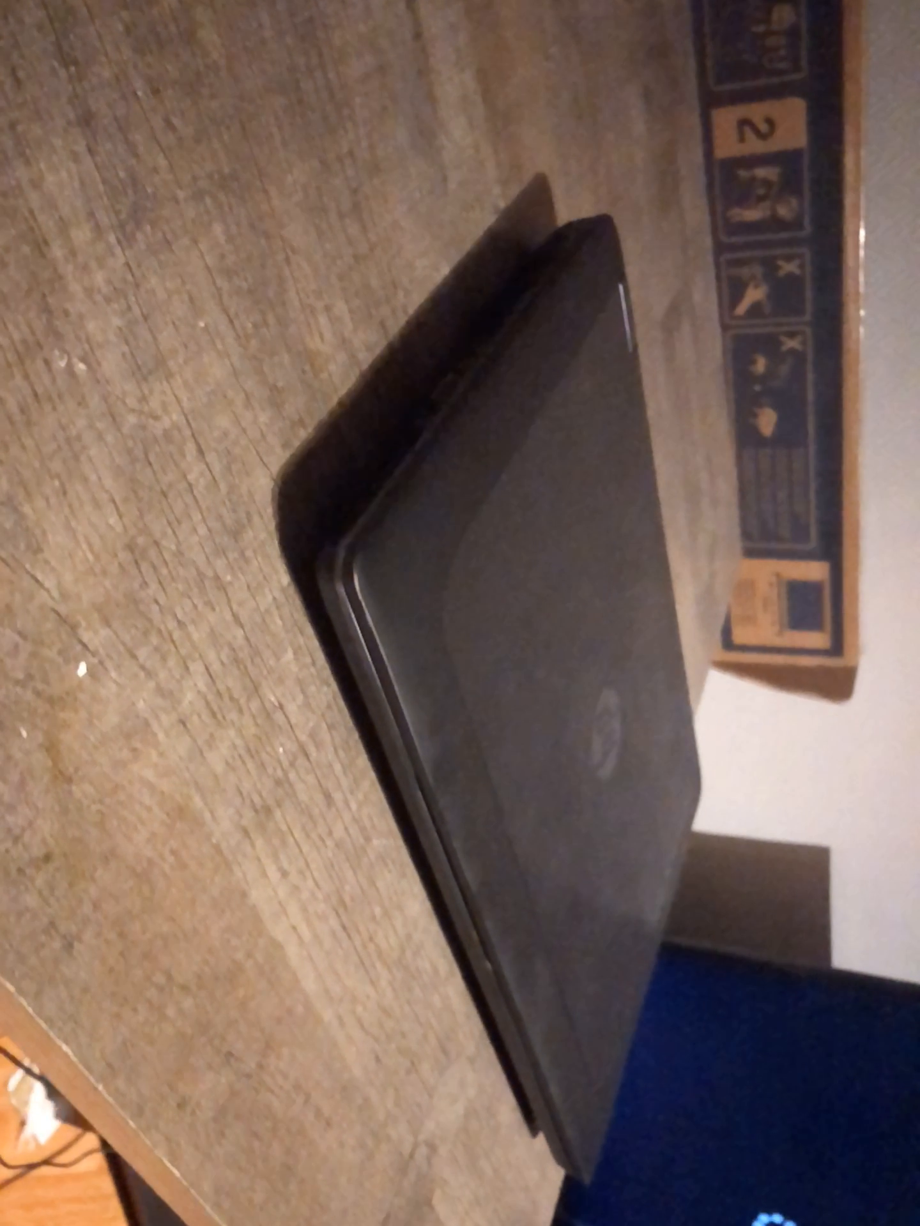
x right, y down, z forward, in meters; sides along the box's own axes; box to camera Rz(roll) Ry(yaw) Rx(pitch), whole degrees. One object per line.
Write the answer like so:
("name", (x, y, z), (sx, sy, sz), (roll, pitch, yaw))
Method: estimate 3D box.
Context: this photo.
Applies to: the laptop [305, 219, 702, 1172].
("laptop", (0.056, 0.050, 0.463), (0.241, 0.017, 0.366), (-60, 144, -42))
